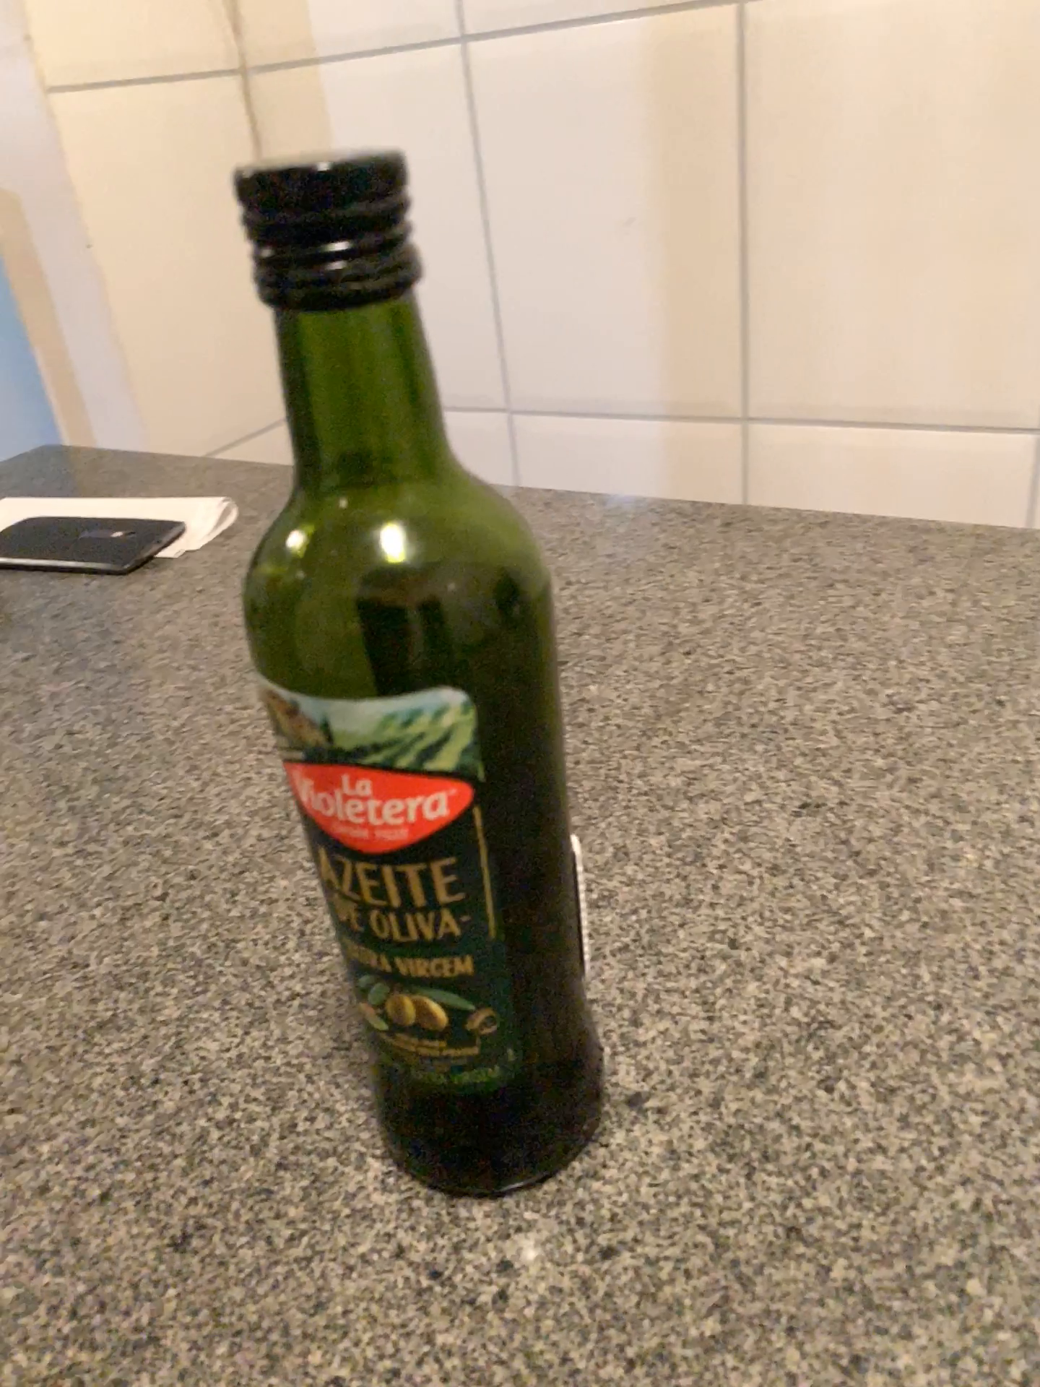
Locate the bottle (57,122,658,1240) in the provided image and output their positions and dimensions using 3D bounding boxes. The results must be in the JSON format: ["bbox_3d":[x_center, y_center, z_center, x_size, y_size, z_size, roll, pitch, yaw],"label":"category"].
[{"bbox_3d":[-0.017,0.013,0.239,0.070,0.239,0.060,6,33,22],"label":"bottle"}]
